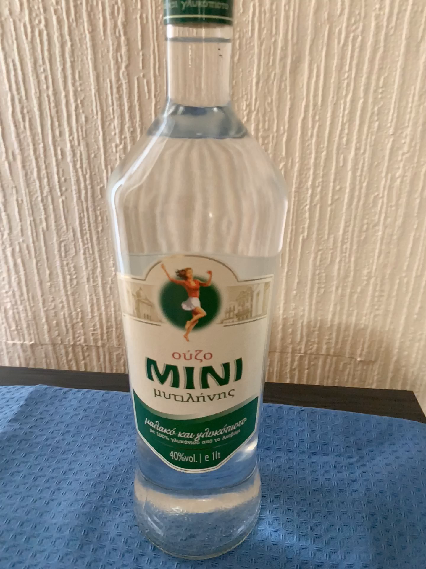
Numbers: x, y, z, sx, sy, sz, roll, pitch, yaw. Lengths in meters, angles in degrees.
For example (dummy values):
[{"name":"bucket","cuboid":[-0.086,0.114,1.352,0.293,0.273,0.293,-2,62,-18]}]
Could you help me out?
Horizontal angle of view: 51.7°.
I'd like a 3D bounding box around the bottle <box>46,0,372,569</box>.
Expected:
[{"name":"bottle","cuboid":[-0.001,0.010,0.221,0.090,0.317,0.071,4,26,6]}]
